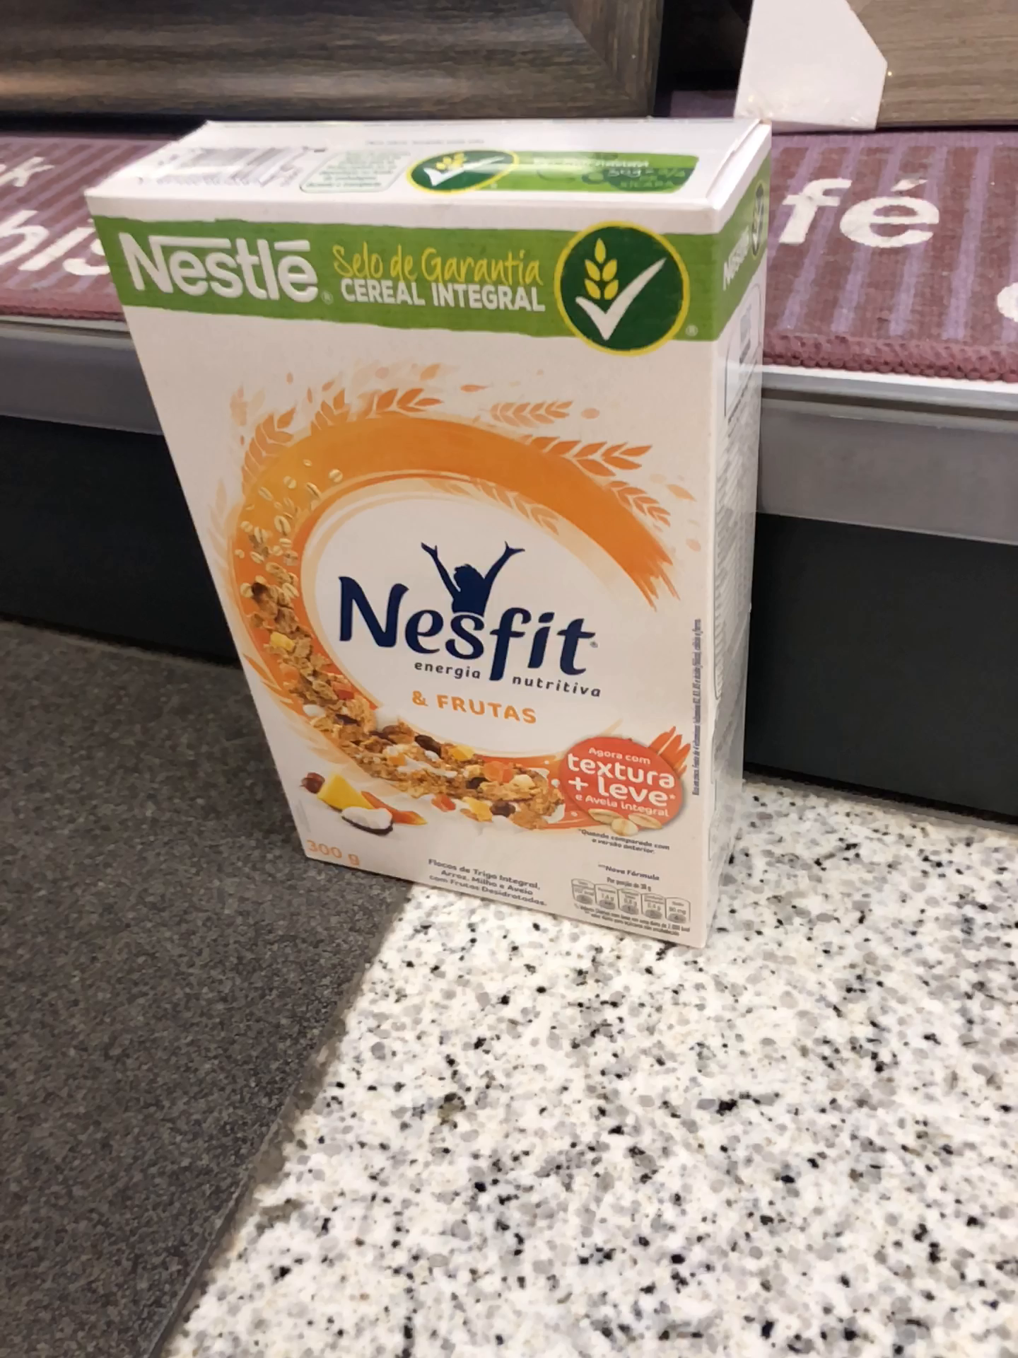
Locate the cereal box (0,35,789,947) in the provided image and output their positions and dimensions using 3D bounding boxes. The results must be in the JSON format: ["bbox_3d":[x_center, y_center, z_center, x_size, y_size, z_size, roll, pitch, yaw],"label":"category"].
[{"bbox_3d":[-0.016,-0.037,0.328,0.170,0.248,0.060,9,45,18],"label":"cereal box"}]
